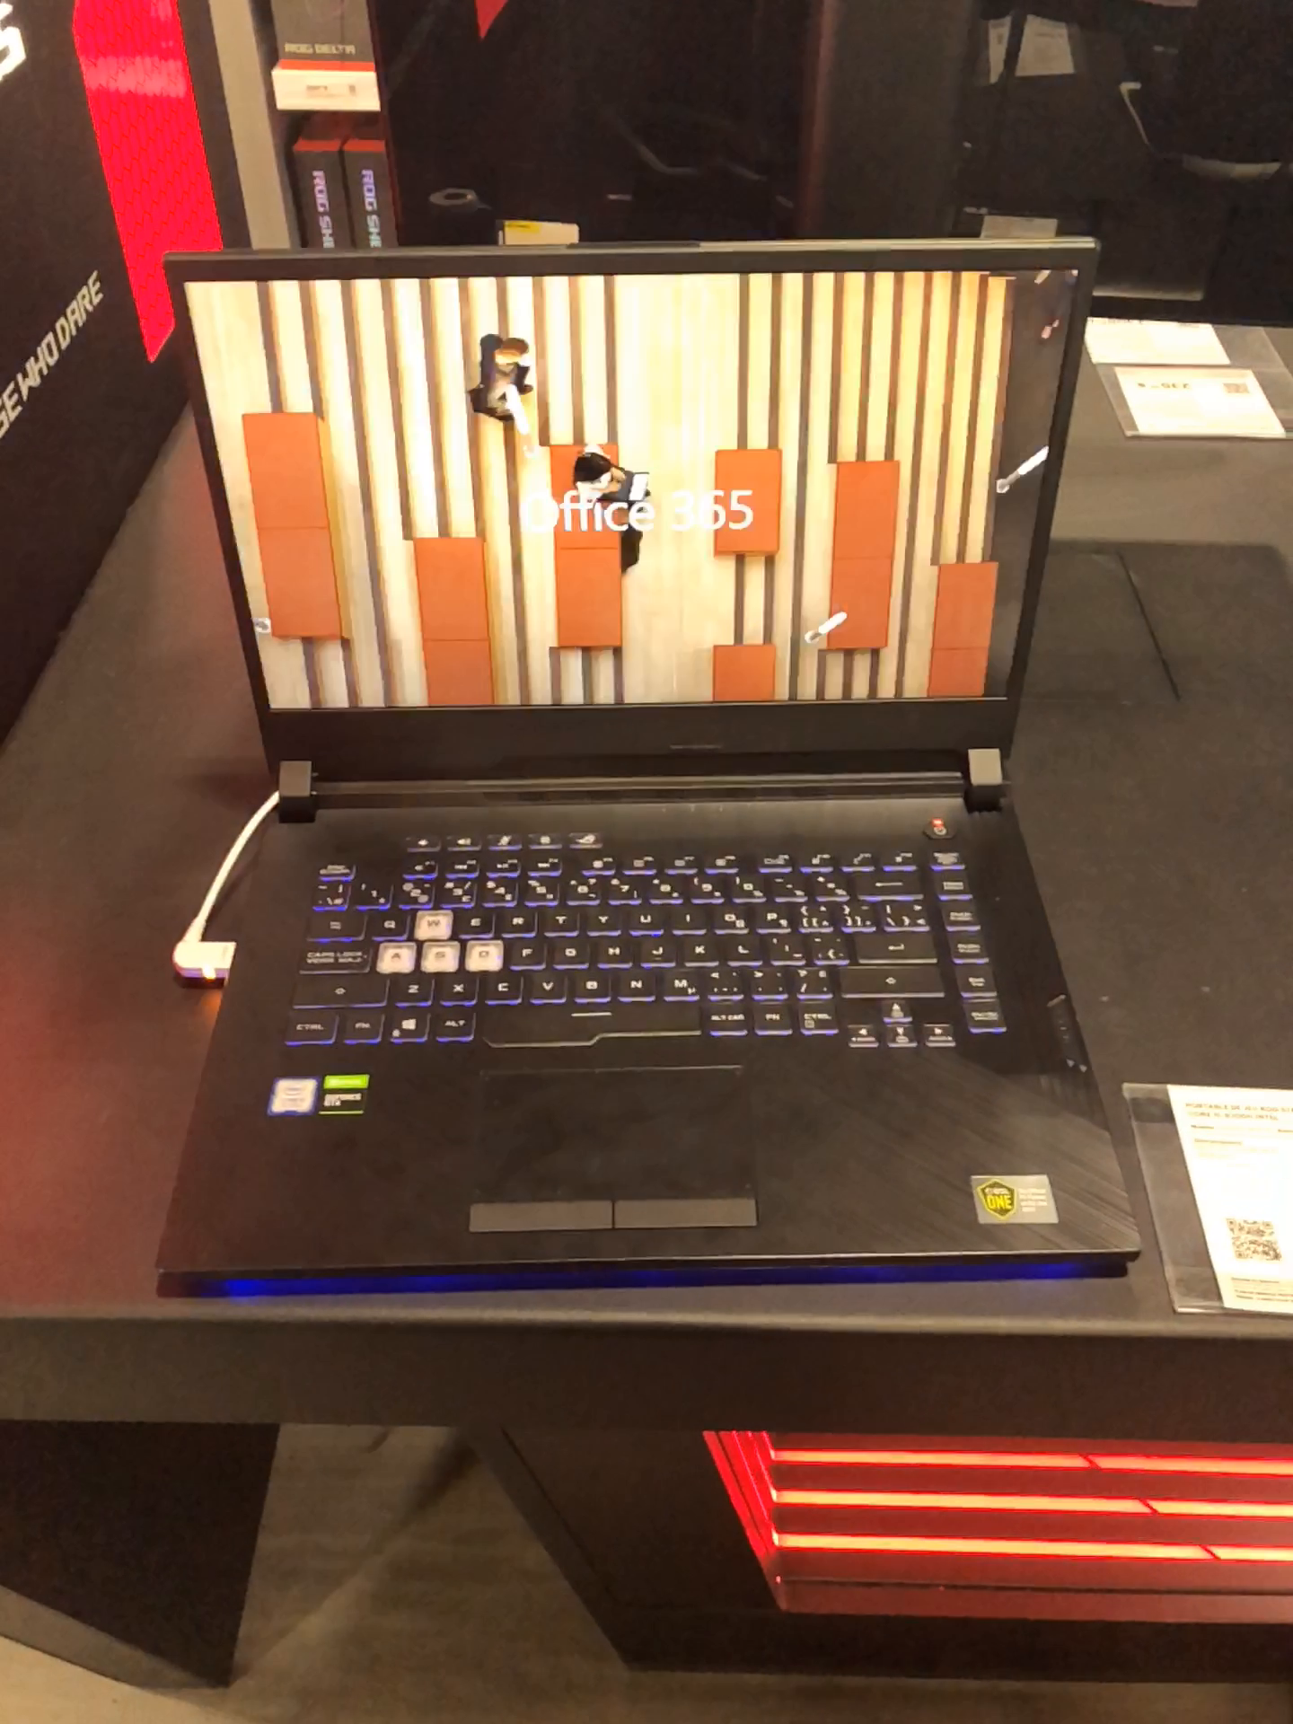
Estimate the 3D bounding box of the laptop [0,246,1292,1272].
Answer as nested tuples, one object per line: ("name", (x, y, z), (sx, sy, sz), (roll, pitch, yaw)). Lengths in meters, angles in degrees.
("laptop", (-0.001, -0.042, 0.538), (0.360, 0.268, 0.276), (-1, 45, -1))
